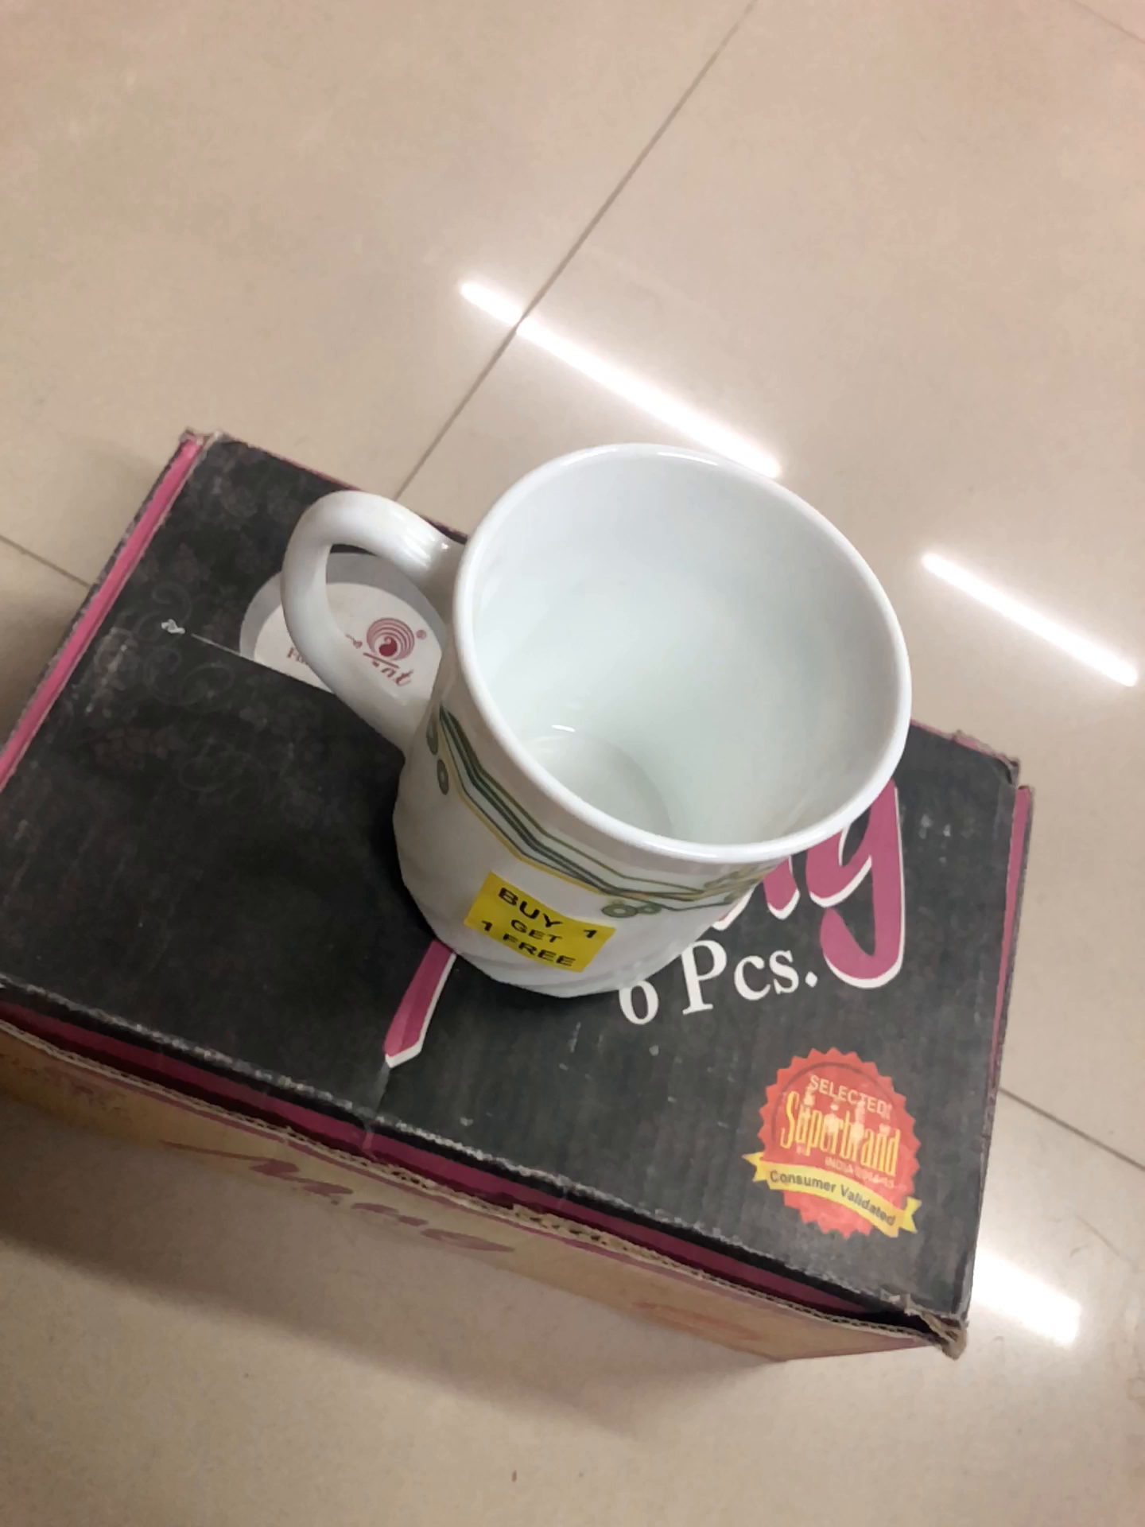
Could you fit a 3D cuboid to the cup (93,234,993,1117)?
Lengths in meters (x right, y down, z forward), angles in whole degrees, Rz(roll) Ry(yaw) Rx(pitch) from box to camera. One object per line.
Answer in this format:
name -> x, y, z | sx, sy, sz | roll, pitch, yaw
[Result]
cup -> -0.010, -0.008, 0.237 | 0.120, 0.100, 0.080 | 28, 59, -3
